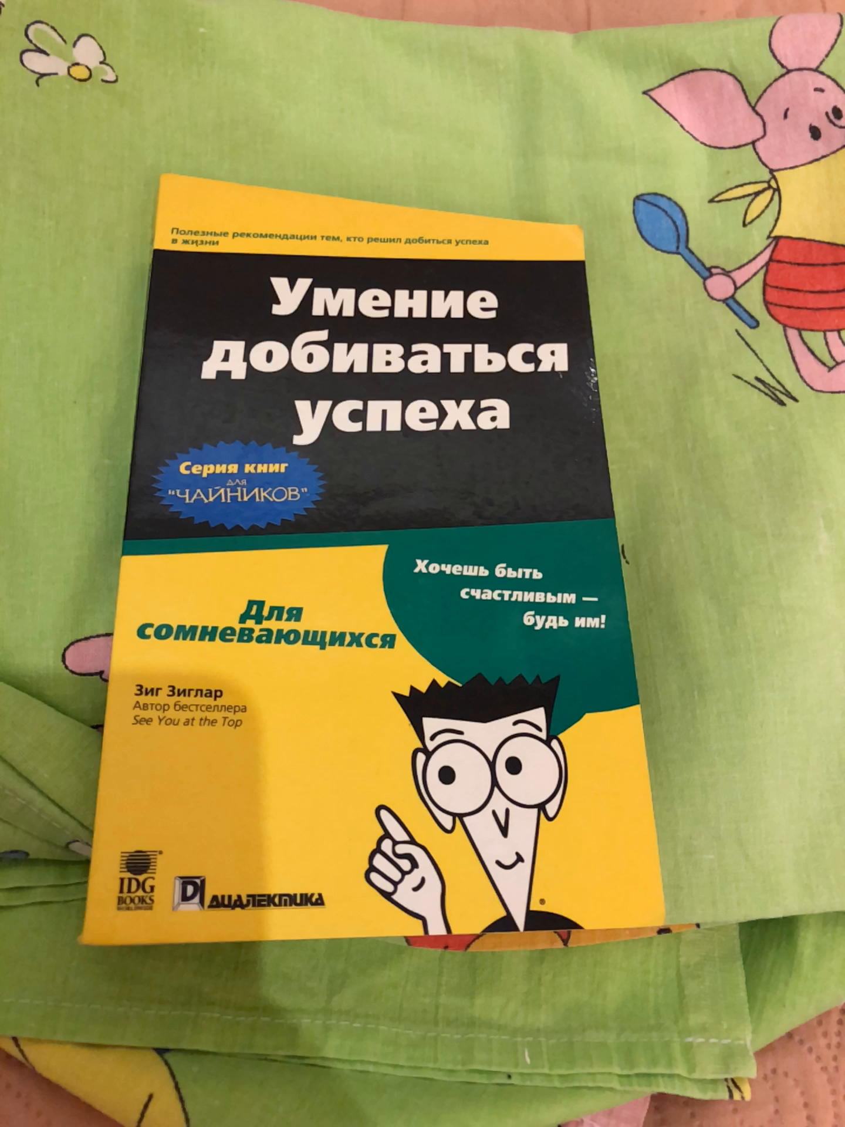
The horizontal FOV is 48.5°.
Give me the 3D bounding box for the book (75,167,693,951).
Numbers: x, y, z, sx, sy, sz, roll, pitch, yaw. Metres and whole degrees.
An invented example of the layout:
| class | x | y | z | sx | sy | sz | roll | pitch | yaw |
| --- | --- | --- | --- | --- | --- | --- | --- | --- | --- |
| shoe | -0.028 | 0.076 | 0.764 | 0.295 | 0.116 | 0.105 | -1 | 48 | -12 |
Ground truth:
| class | x | y | z | sx | sy | sz | roll | pitch | yaw |
| --- | --- | --- | --- | --- | --- | --- | --- | --- | --- |
| book | -0.008 | -0.011 | 0.230 | 0.125 | 0.015 | 0.191 | 3 | 67 | -12 |
